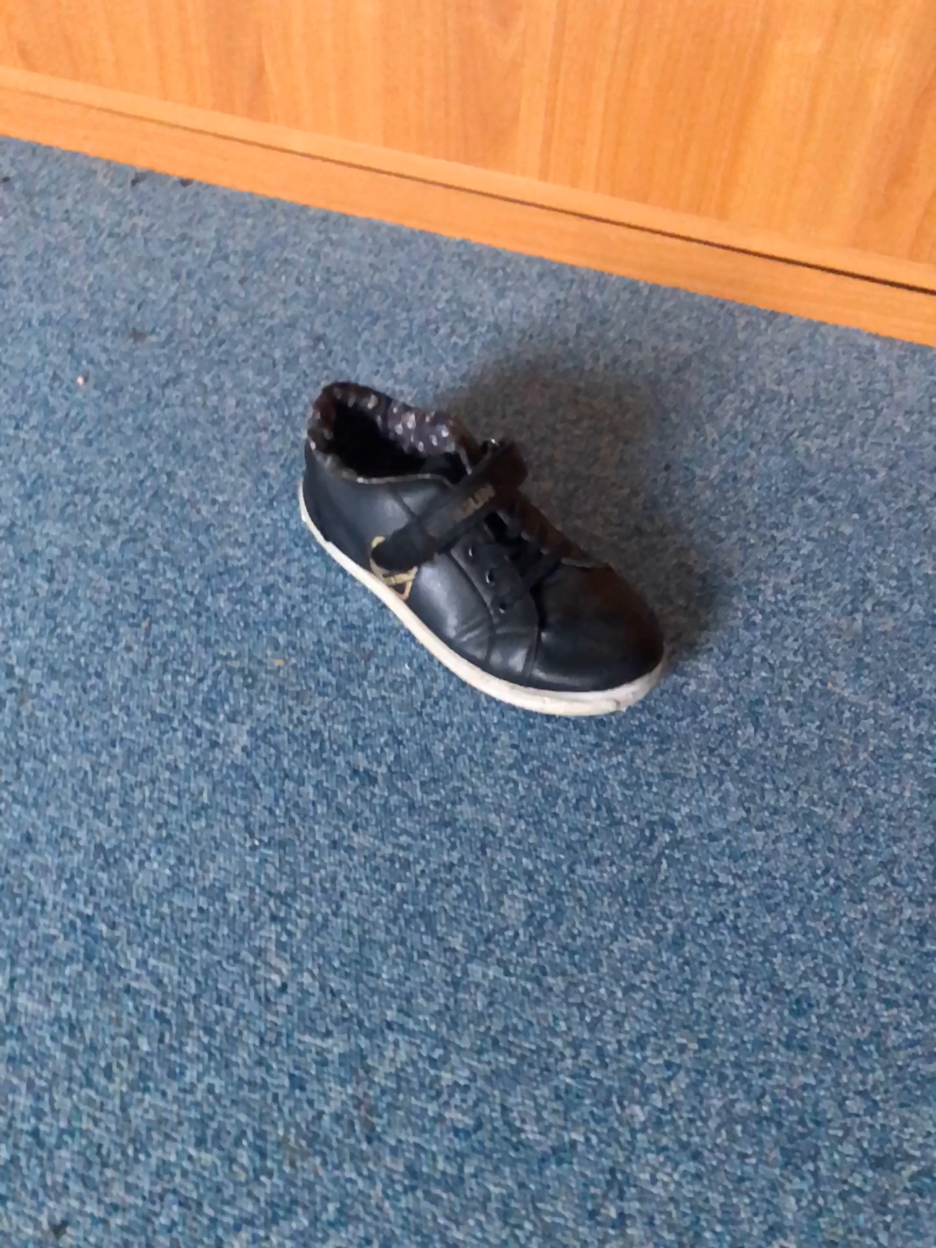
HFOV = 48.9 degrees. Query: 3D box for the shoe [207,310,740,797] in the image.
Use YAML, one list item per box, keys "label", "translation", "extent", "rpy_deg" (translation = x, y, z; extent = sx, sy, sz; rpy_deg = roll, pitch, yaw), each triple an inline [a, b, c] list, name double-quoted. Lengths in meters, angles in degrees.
- label: "shoe"
  translation: [-0.005, -0.044, 0.505]
  extent: [0.230, 0.090, 0.111]
  rpy_deg: [37, 57, 23]
